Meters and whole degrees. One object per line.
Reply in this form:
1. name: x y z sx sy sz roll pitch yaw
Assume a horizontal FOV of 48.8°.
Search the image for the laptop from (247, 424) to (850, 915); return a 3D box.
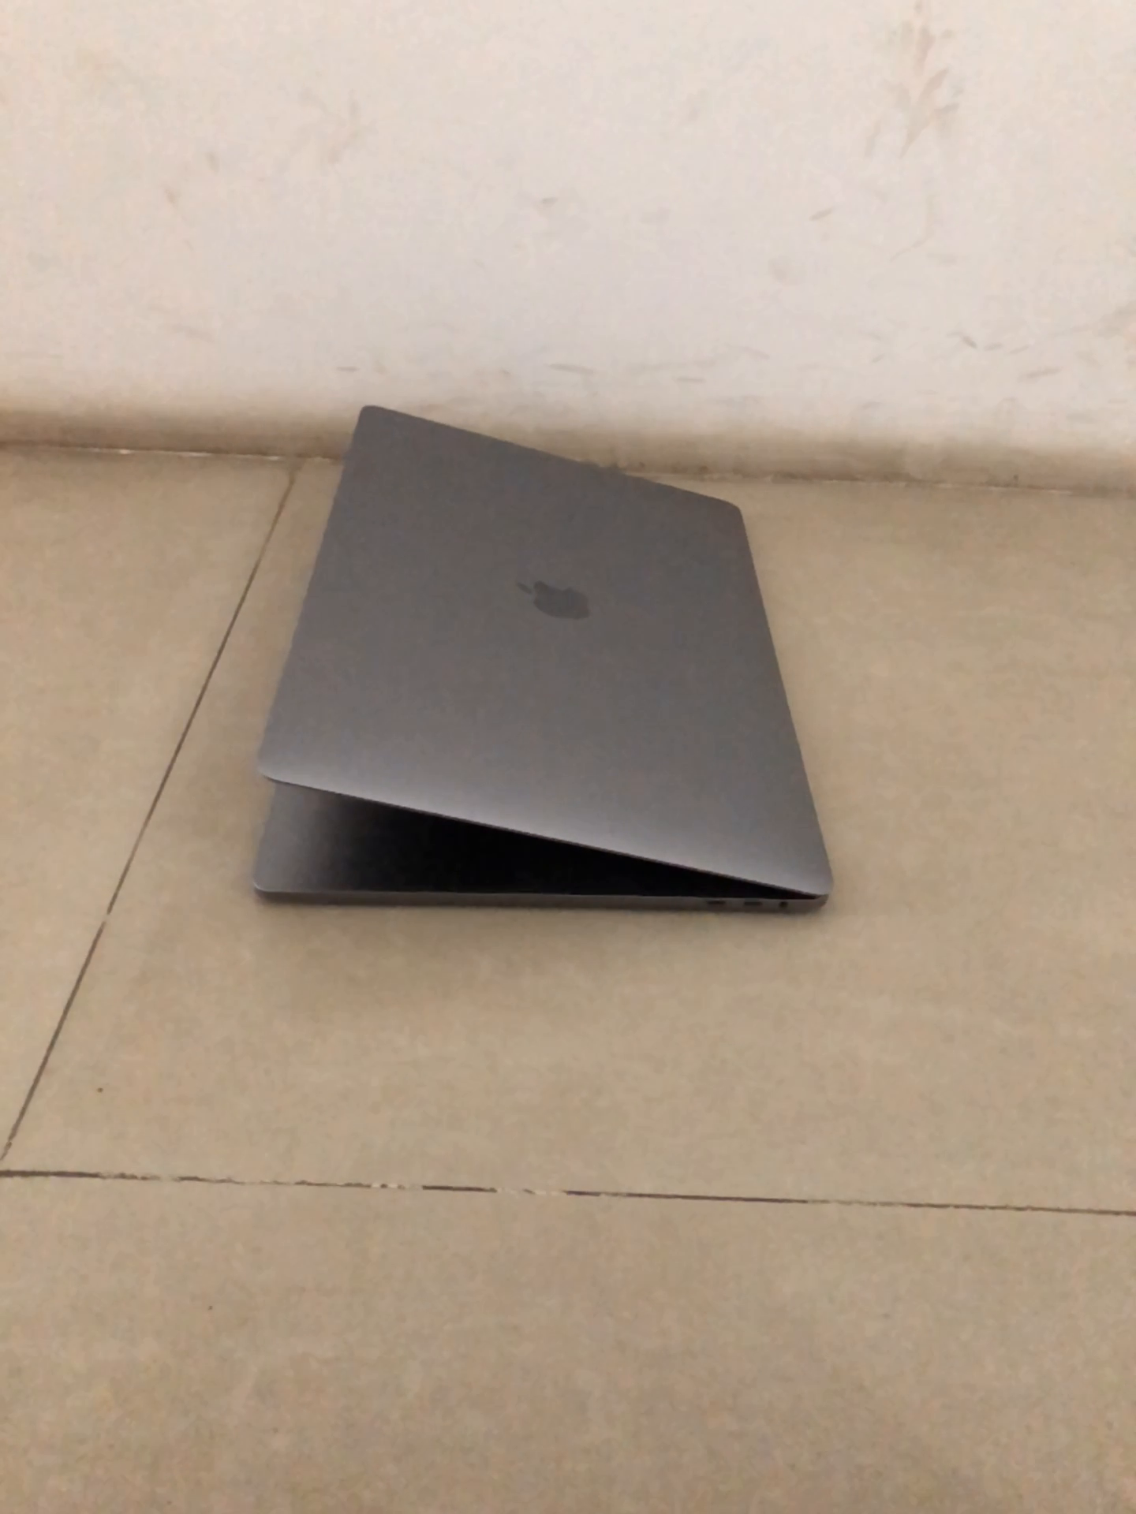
1. laptop: -0.007 -0.066 0.630 0.232 0.057 0.337 2 39 -1
